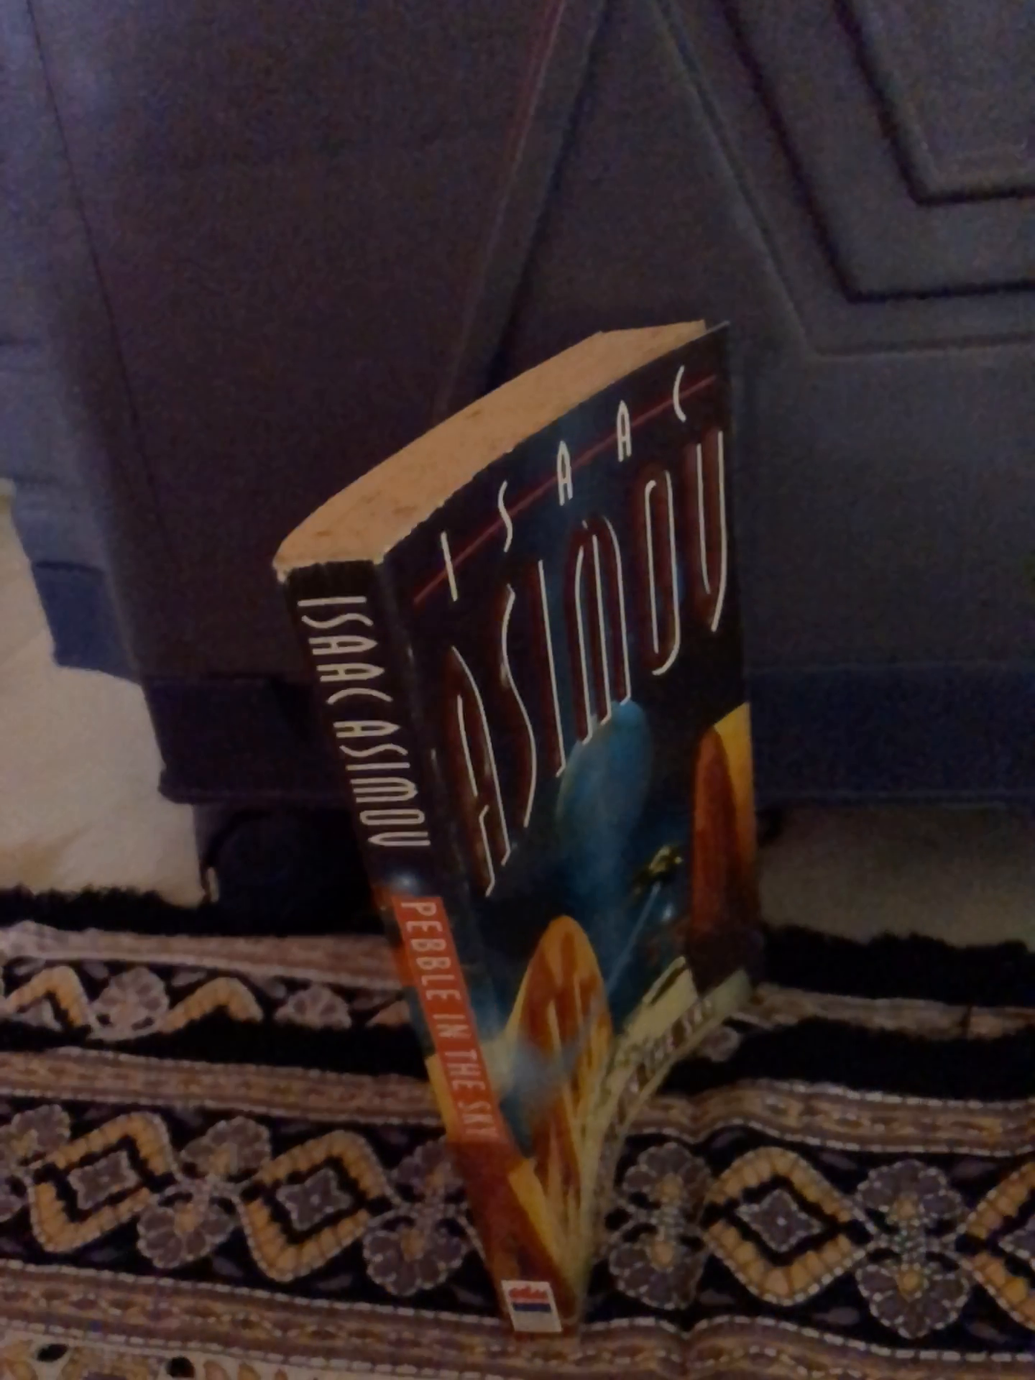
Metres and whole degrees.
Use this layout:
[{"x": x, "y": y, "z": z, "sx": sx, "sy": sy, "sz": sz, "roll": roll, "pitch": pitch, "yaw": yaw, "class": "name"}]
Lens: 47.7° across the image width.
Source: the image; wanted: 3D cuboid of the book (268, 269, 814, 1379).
[{"x": 0.027, "y": 0.025, "z": 0.251, "sx": 0.030, "sy": 0.189, "sz": 0.151, "roll": 6, "pitch": 31, "yaw": 27, "class": "book"}]
